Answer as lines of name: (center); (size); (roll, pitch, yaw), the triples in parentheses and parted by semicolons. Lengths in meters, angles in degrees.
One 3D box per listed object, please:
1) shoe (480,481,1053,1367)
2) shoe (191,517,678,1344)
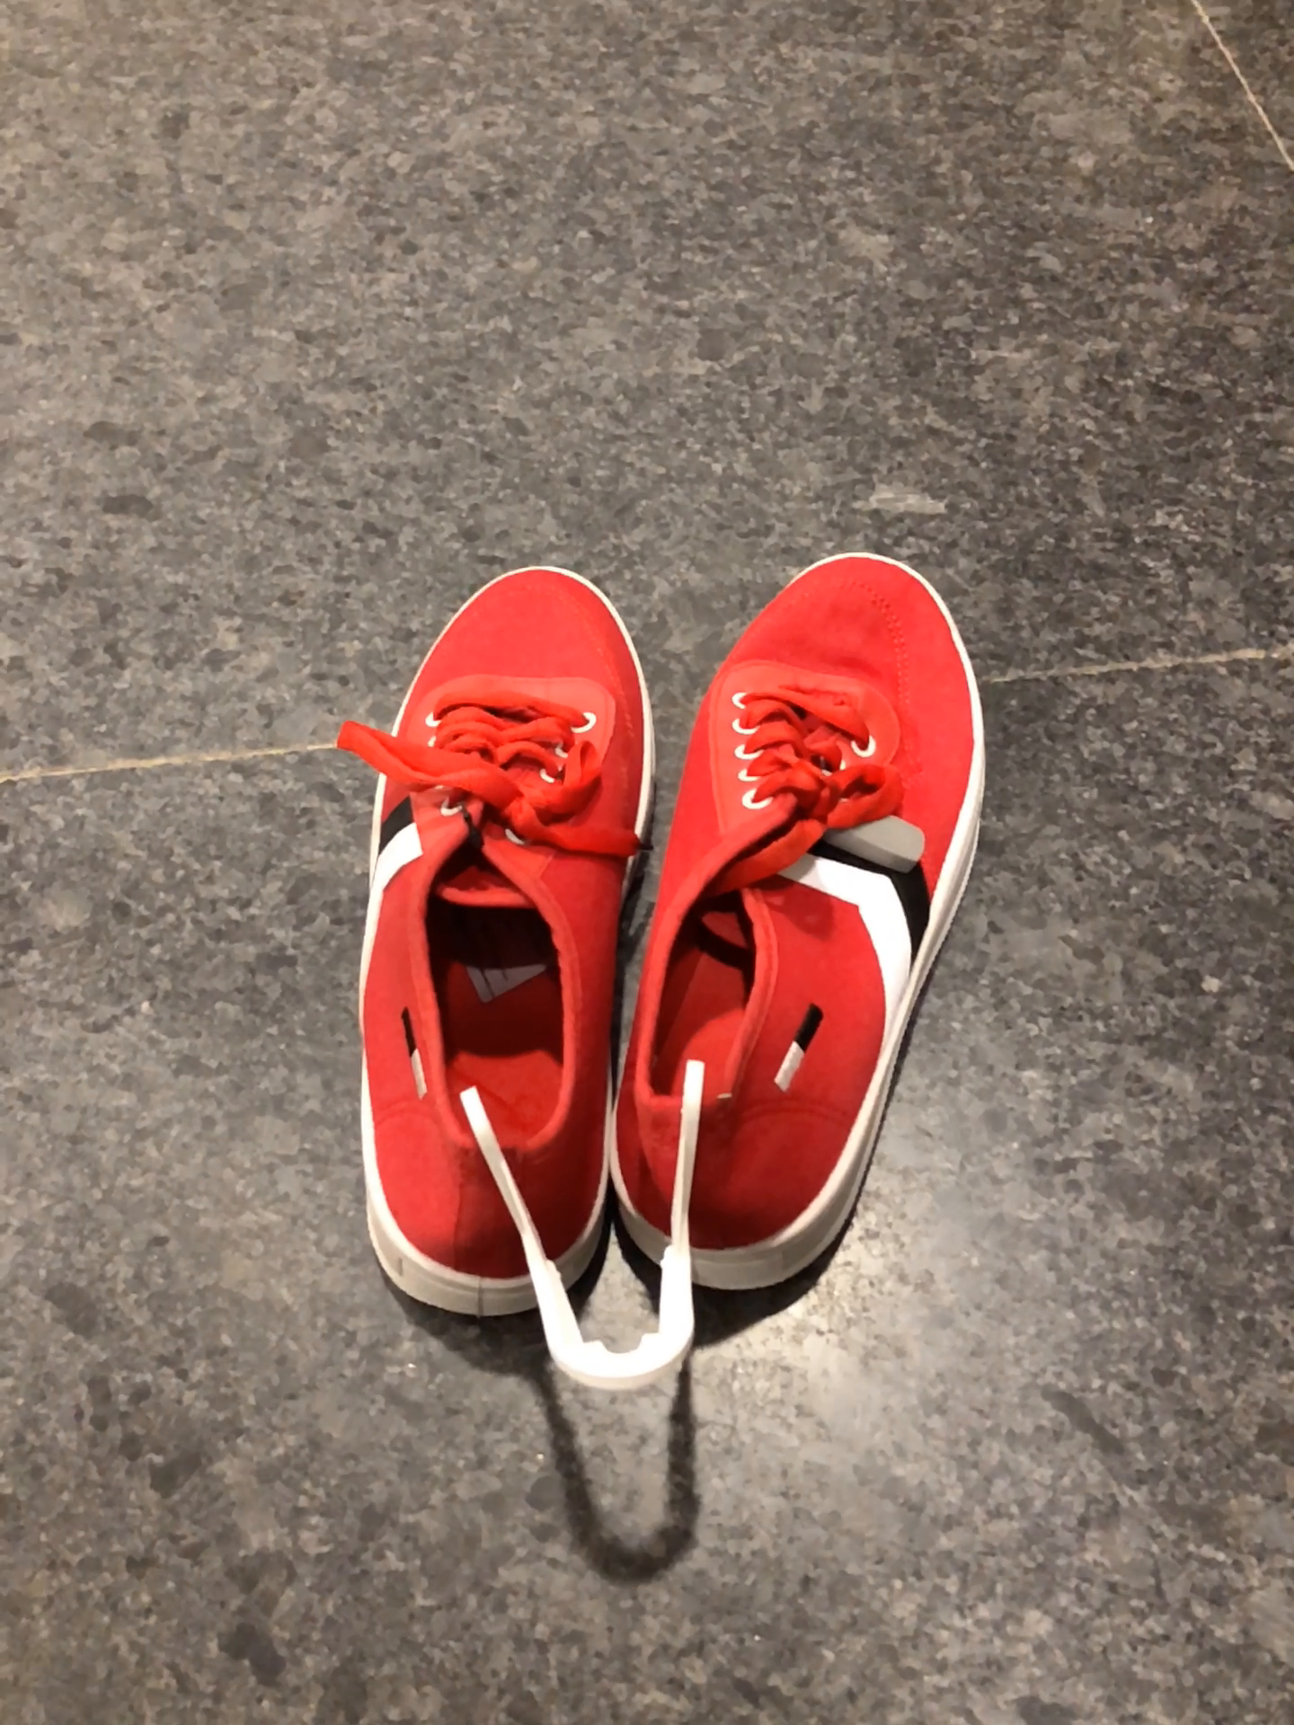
shoe: (0.045, 0.008, 0.423); (0.103, 0.090, 0.234); (12, 57, 11)
shoe: (-0.047, 0.012, 0.429); (0.101, 0.090, 0.234); (1, 56, 3)
